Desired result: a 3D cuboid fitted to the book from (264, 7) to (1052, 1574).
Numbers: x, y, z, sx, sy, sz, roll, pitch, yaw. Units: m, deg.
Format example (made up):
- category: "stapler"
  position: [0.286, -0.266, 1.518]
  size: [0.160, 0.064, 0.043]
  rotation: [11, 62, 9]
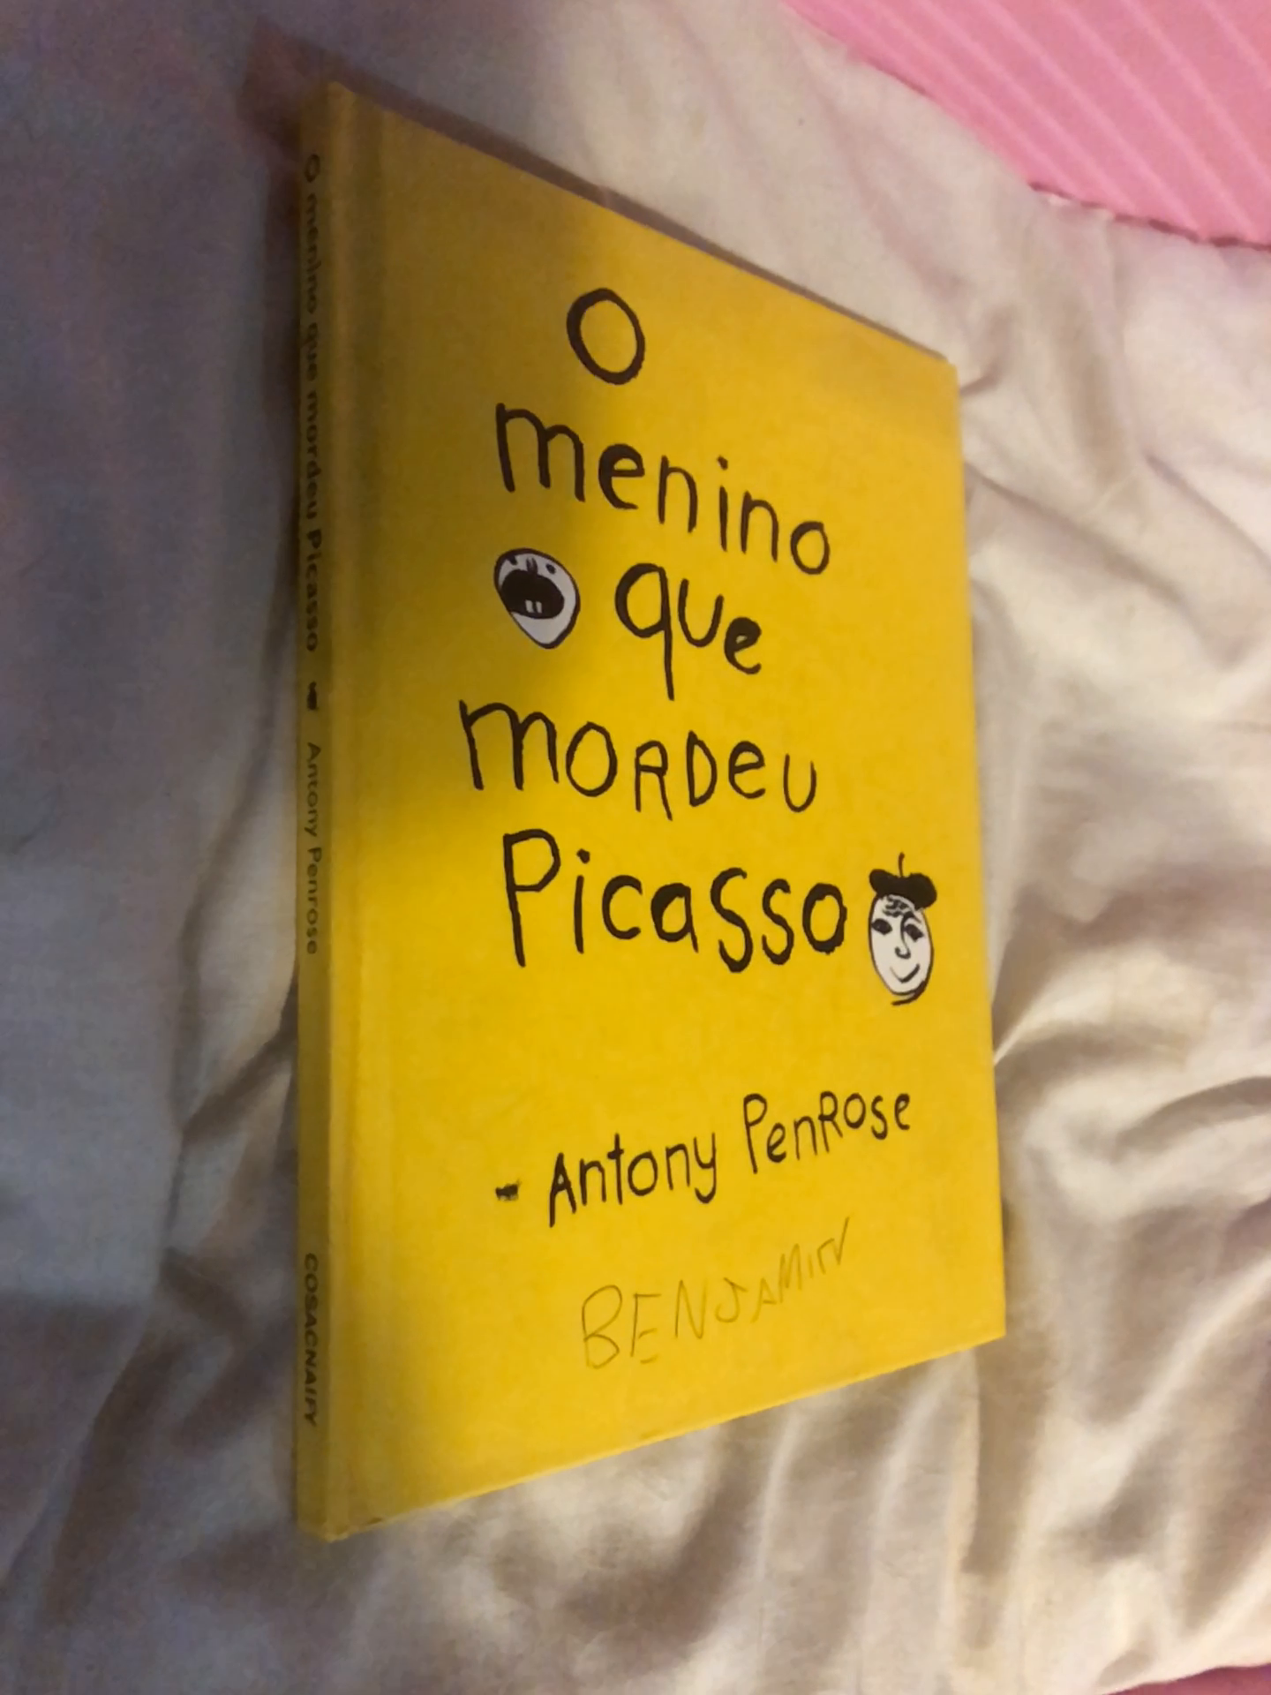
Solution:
- category: "book"
  position: [0.017, -0.009, 0.283]
  size: [0.181, 0.024, 0.240]
  rotation: [5, 82, -41]
